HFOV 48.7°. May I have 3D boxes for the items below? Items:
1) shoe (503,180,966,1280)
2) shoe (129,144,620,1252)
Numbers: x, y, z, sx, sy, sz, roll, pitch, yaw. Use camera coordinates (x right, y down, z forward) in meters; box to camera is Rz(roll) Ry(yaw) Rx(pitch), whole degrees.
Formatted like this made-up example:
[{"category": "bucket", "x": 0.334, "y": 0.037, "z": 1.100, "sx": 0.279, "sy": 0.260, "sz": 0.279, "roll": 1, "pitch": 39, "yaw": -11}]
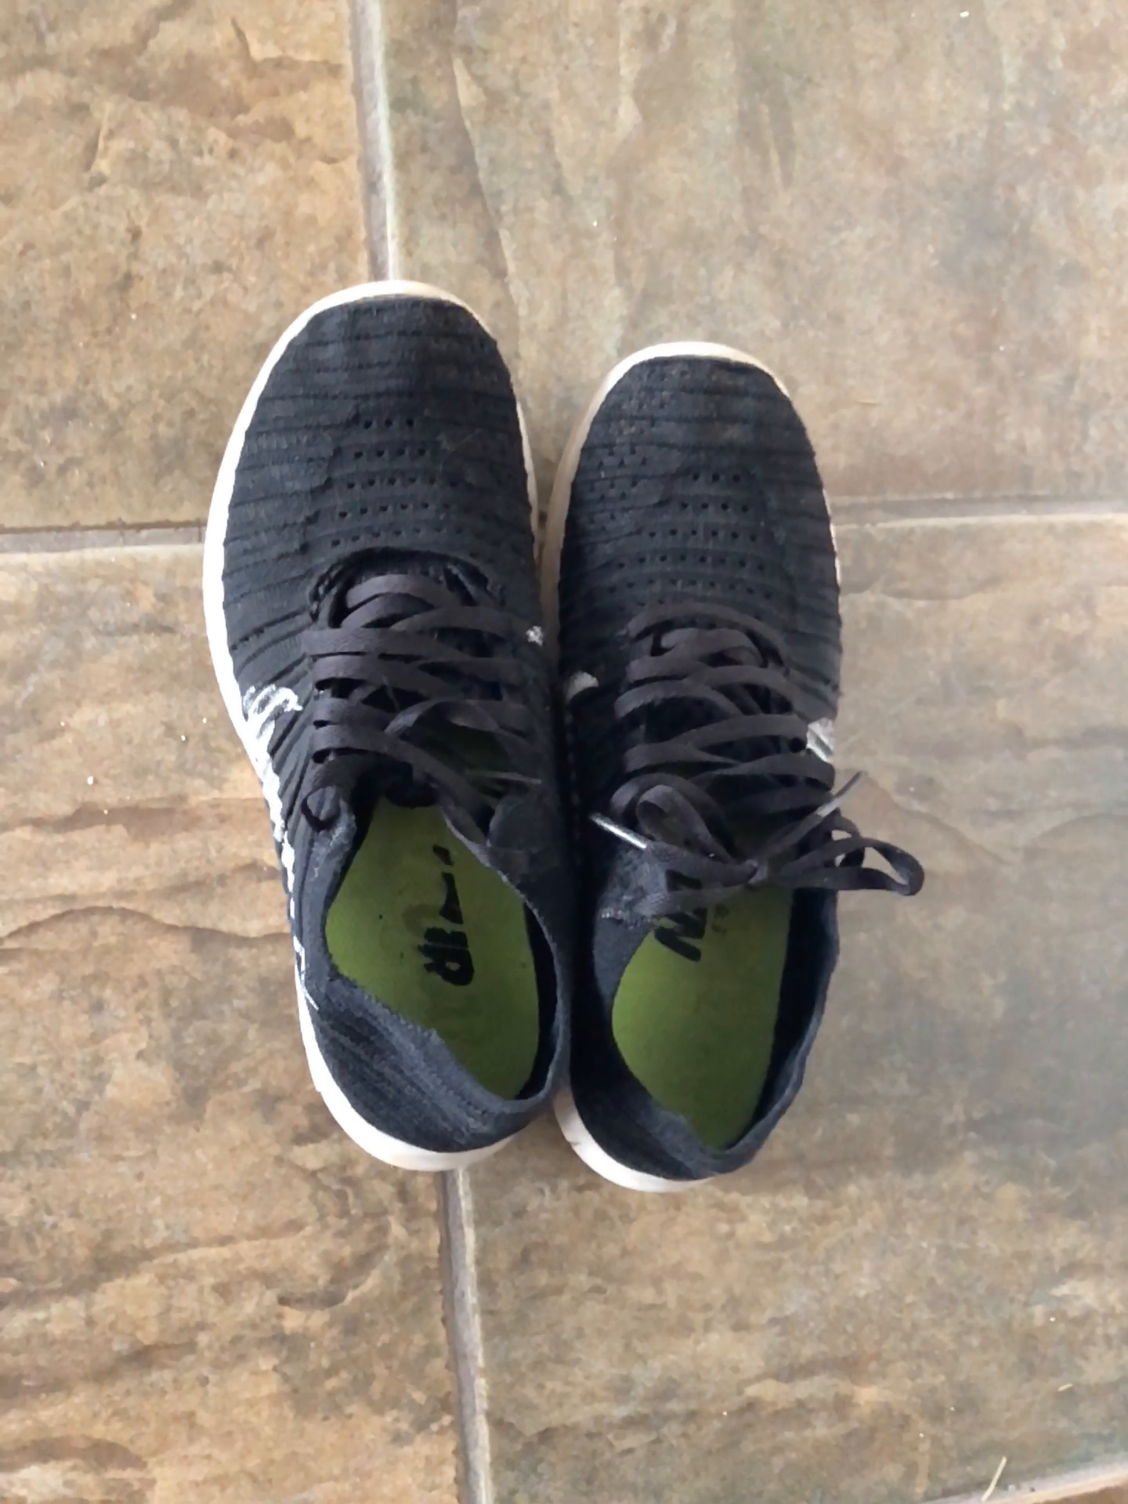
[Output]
[{"category": "shoe", "x": 0.042, "y": -0.005, "z": 0.347, "sx": 0.100, "sy": 0.090, "sz": 0.260, "roll": 2, "pitch": 87, "yaw": -11}, {"category": "shoe", "x": -0.053, "y": -0.016, "z": 0.345, "sx": 0.100, "sy": 0.090, "sz": 0.260, "roll": -4, "pitch": 88, "yaw": -11}]
